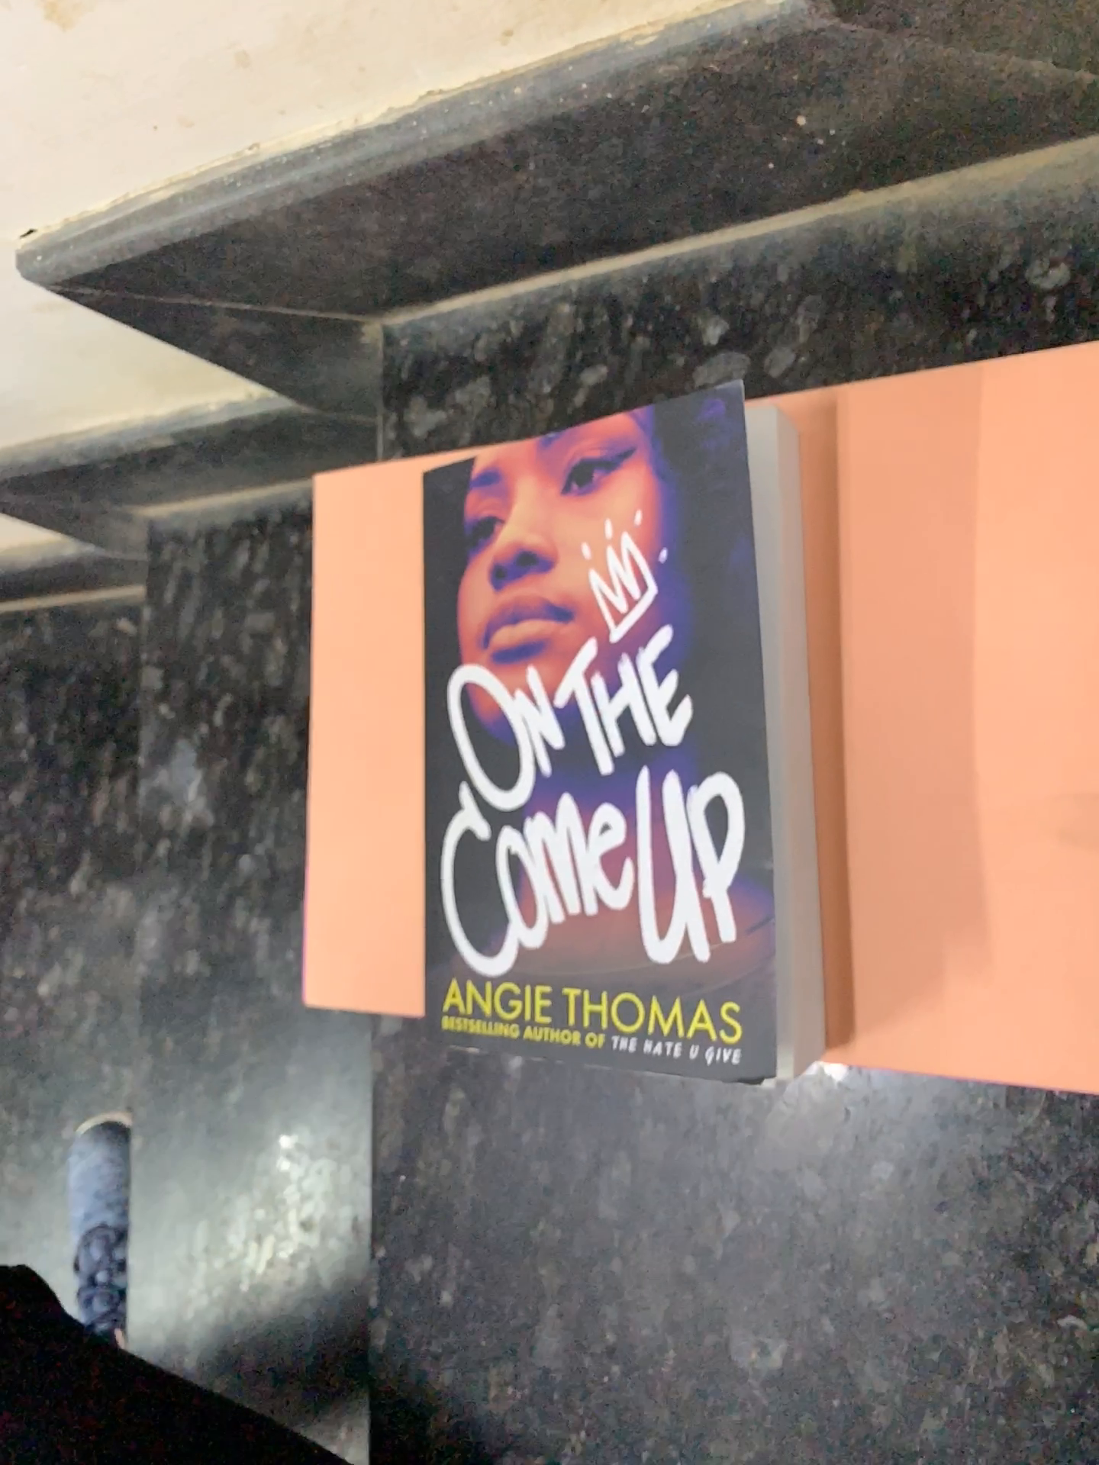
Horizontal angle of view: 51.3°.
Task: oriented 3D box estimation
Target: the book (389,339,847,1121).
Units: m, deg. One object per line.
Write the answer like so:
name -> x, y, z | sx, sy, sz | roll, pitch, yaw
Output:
book -> 0.015, 0.002, 0.343 | 0.130, 0.040, 0.200 | -4, 83, 33
